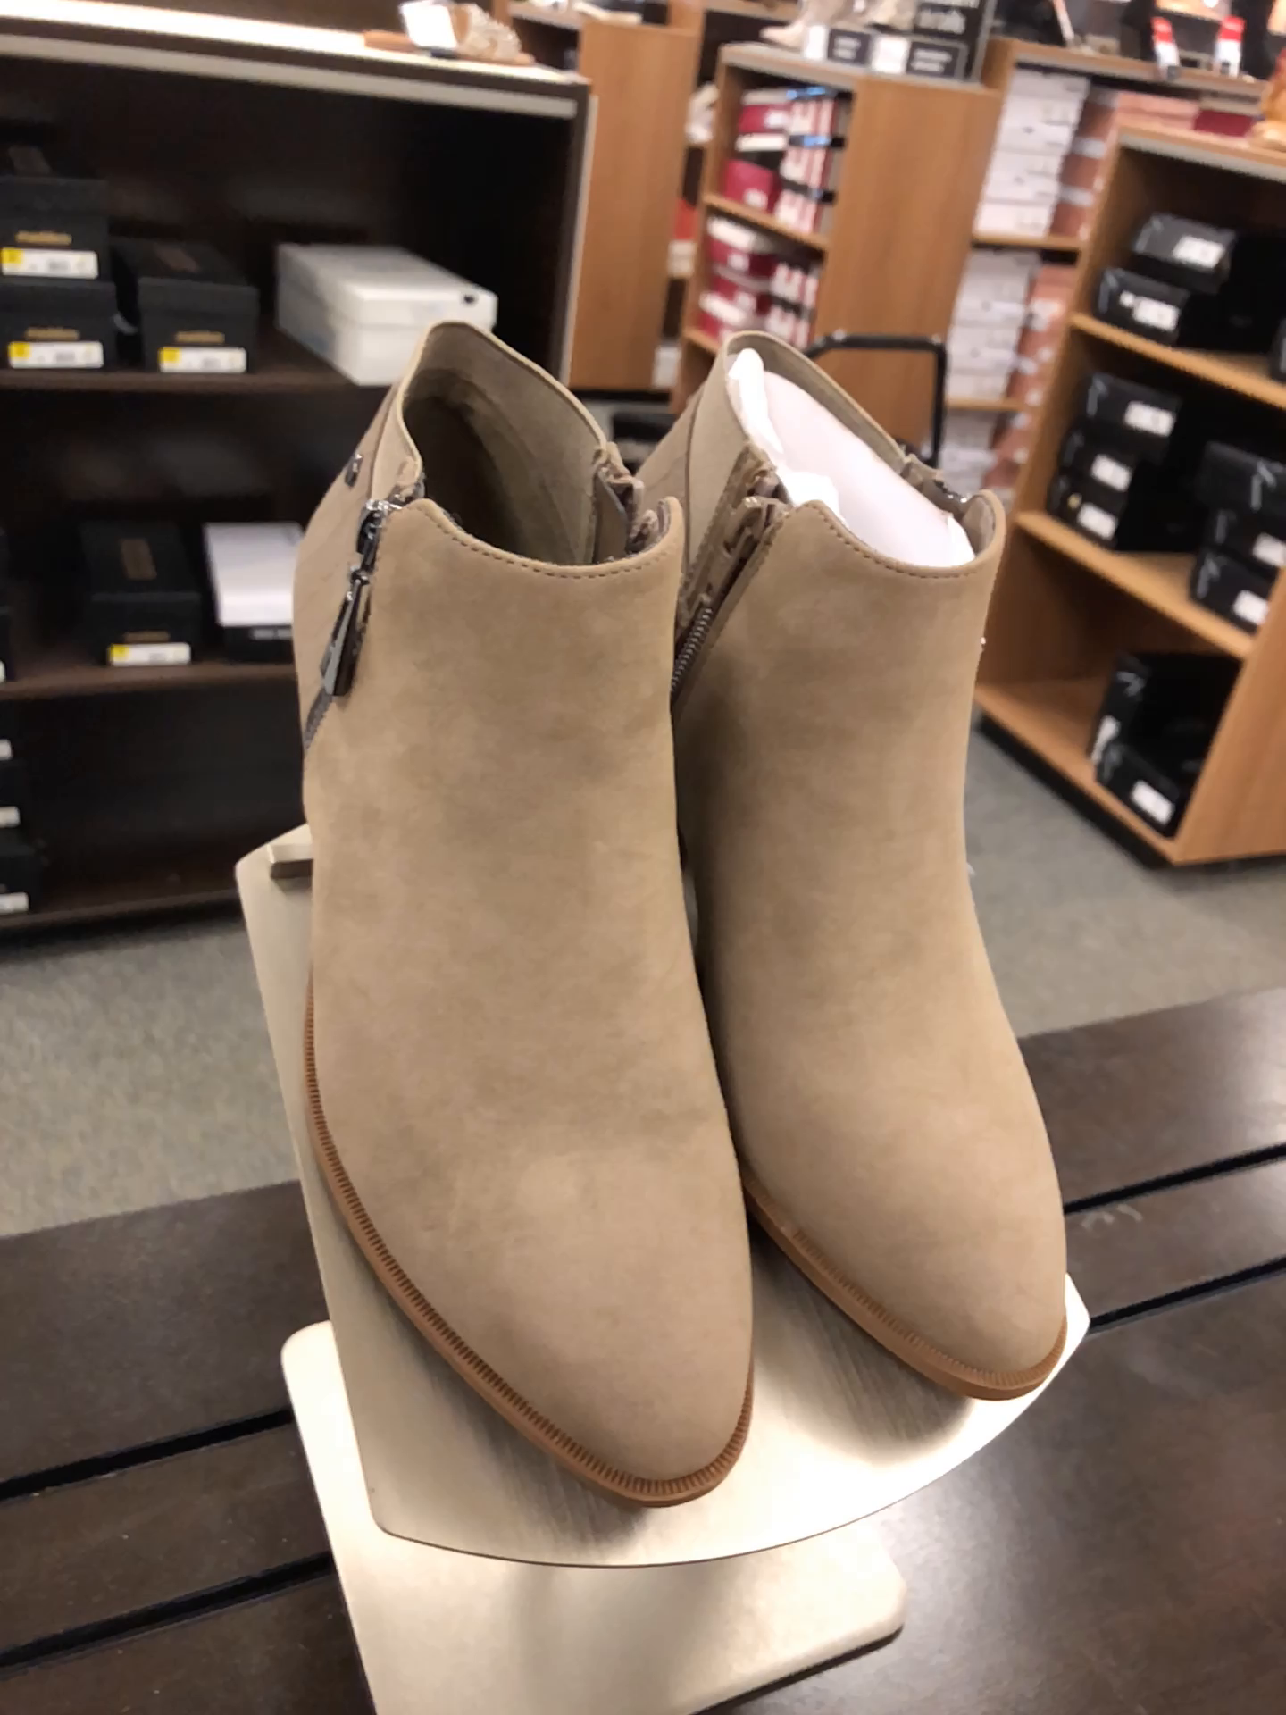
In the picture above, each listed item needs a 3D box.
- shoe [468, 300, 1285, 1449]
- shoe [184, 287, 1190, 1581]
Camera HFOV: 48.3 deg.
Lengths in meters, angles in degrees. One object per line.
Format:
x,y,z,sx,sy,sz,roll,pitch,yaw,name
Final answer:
0.053,-0.018,0.350,0.095,0.153,0.240,-9,40,-27,shoe
-0.025,-0.005,0.312,0.095,0.152,0.231,-9,42,-27,shoe
